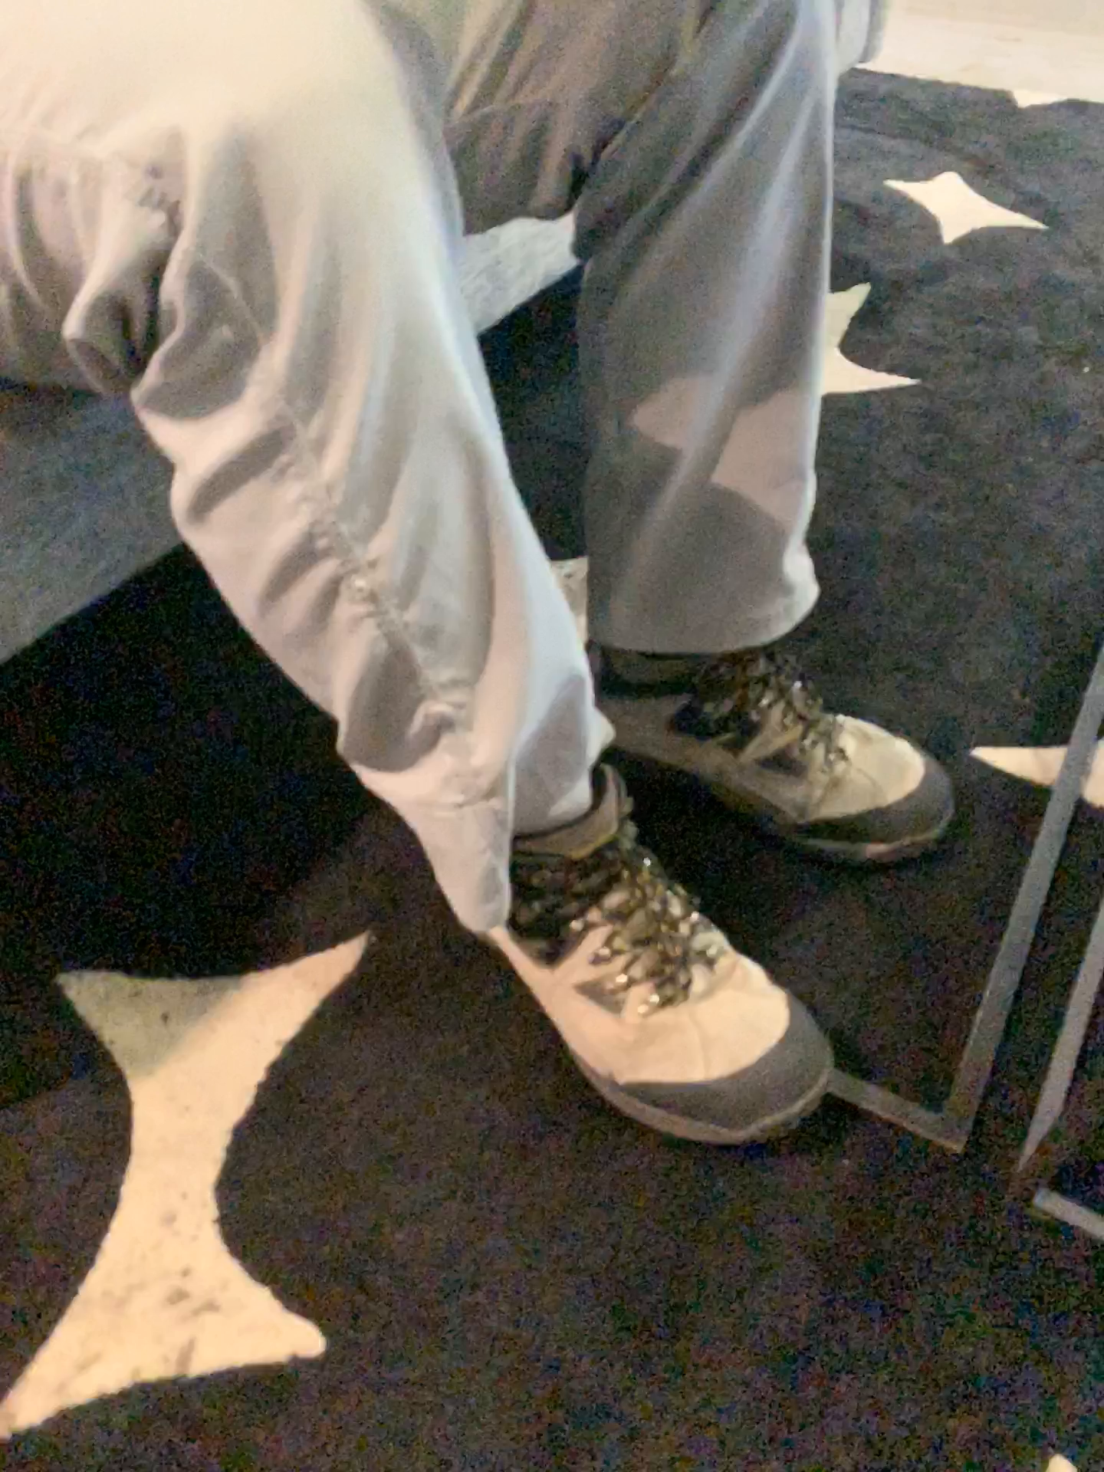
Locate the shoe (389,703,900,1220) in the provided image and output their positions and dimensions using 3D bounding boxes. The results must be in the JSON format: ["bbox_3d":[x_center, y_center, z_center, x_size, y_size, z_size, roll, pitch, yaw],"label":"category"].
[{"bbox_3d":[0.042,0.121,0.669,0.124,0.090,0.285,-34,59,-27],"label":"shoe"}]

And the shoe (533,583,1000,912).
[{"bbox_3d":[0.149,-0.001,0.821,0.304,0.080,0.122,22,51,21],"label":"shoe"}]
